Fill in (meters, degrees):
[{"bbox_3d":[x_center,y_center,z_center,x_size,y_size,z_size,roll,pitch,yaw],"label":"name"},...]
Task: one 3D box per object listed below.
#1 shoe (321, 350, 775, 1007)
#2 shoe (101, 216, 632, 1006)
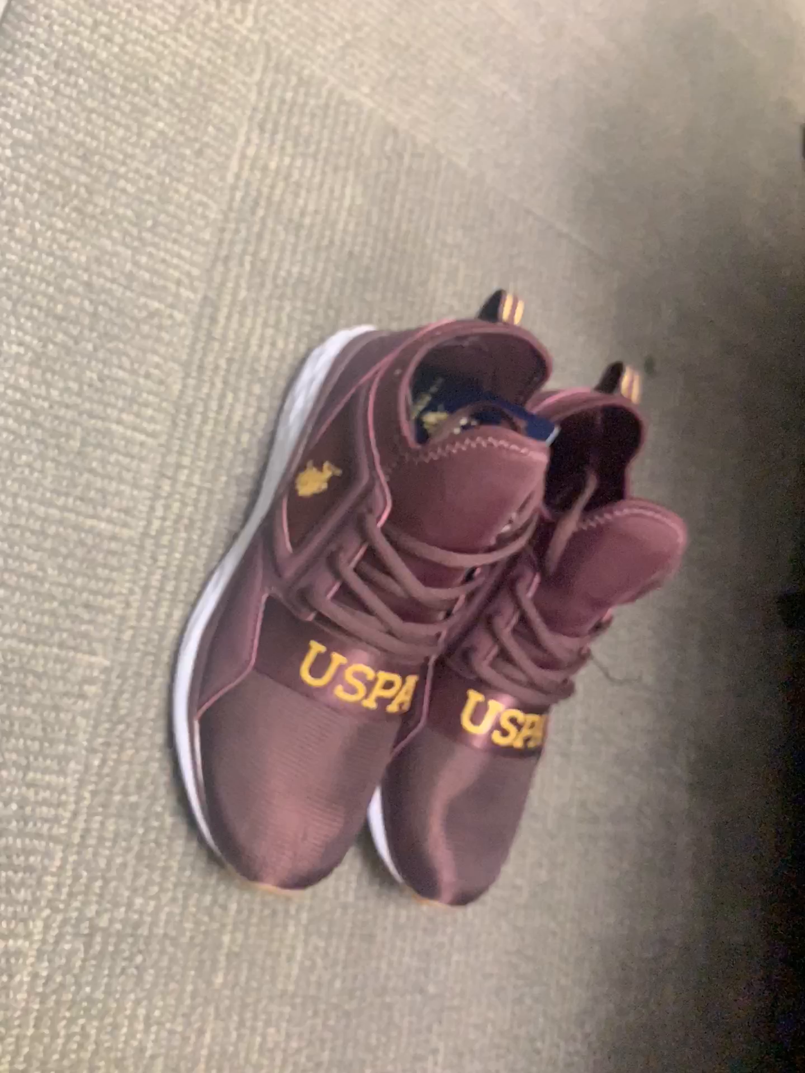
[{"bbox_3d":[0.067,0.063,0.393,0.104,0.149,0.241,20,72,-31],"label":"shoe"},{"bbox_3d":[-0.016,0.031,0.341,0.104,0.155,0.243,20,72,-31],"label":"shoe"}]
